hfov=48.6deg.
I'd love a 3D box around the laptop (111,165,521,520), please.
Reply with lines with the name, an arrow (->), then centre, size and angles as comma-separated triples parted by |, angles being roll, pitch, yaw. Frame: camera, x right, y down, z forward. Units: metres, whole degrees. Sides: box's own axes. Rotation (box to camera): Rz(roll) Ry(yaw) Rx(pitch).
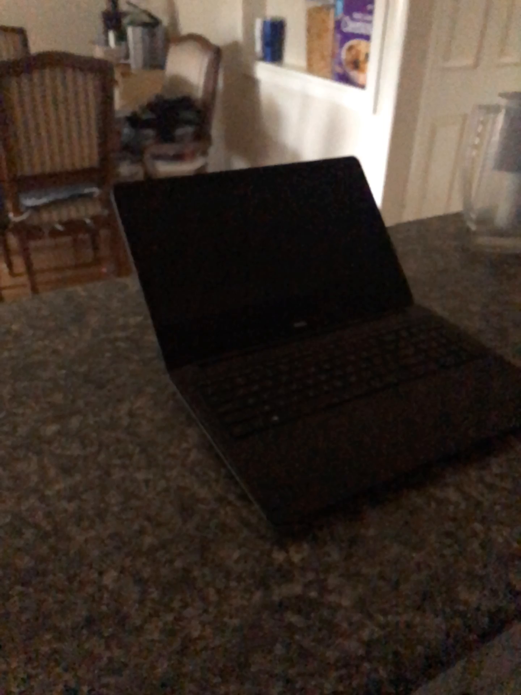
laptop -> 0.071, -0.064, 0.672 | 0.361, 0.158, 0.416 | -15, 36, -24
